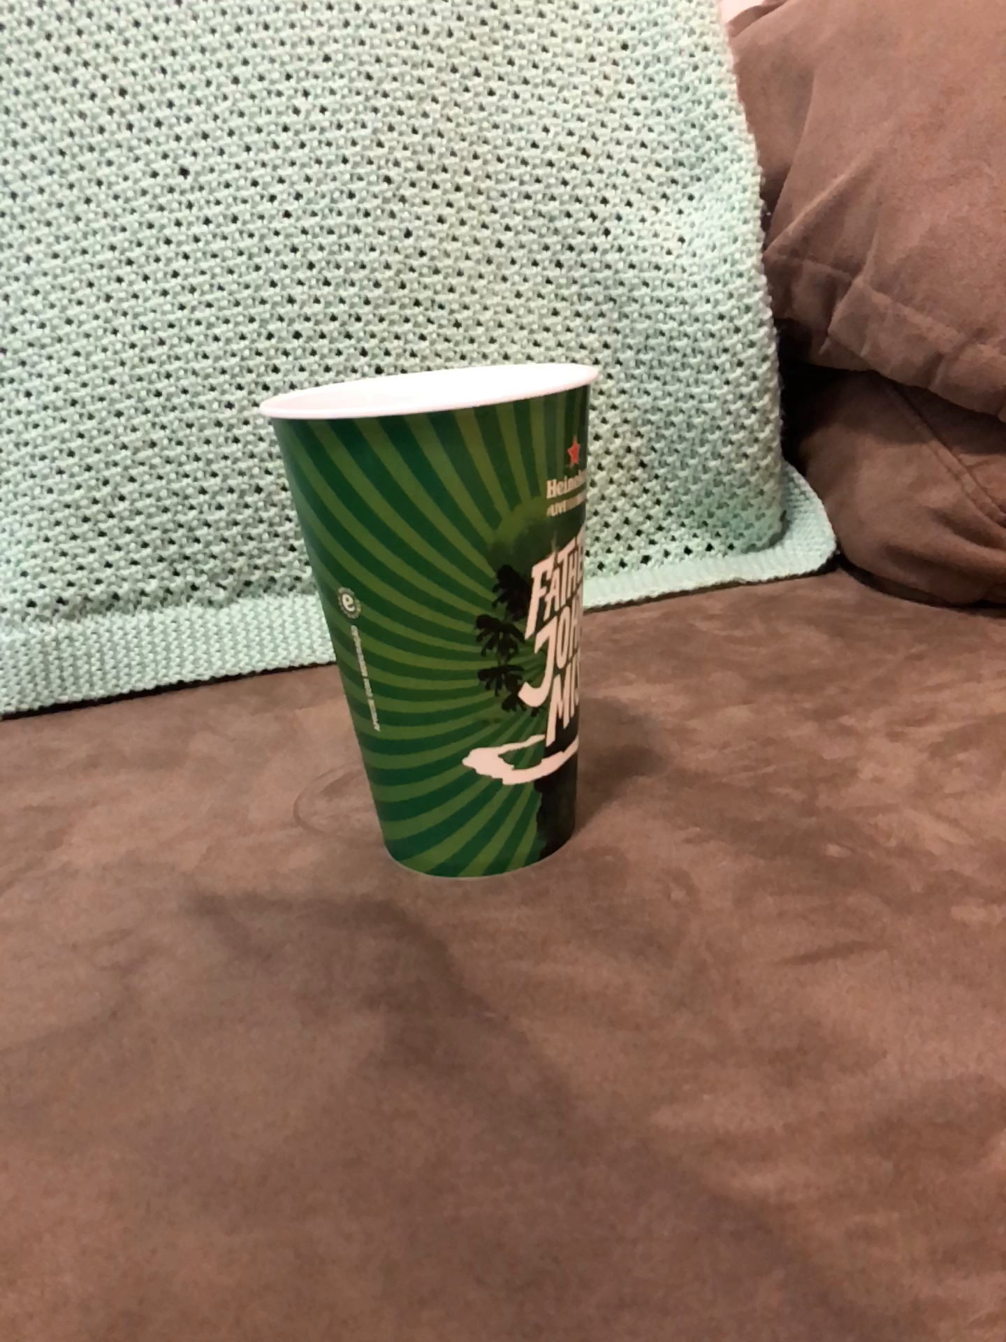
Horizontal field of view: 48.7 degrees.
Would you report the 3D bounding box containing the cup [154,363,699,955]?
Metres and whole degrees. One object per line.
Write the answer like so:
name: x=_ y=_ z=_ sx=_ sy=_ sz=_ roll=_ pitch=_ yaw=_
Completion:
cup: x=-0.016 y=-0.014 z=0.319 sx=0.100 sy=0.129 sz=0.100 roll=-5 pitch=18 yaw=2
